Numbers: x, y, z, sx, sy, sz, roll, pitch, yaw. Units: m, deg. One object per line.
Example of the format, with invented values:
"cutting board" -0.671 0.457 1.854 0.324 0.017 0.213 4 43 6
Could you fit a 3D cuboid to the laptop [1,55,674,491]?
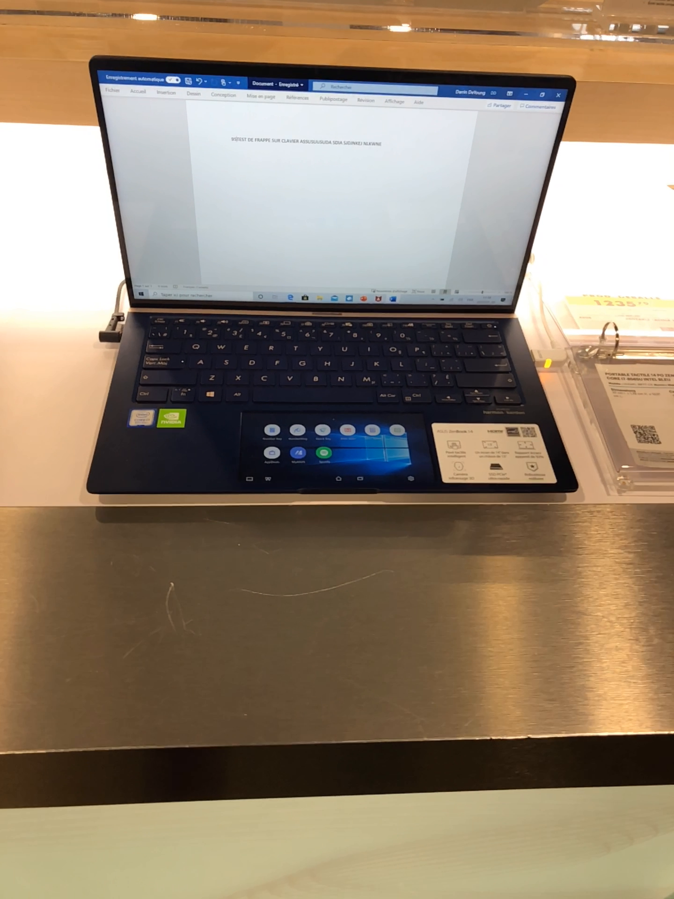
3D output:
"laptop" 0.001 -0.112 0.477 0.317 0.193 0.200 0 46 -4
